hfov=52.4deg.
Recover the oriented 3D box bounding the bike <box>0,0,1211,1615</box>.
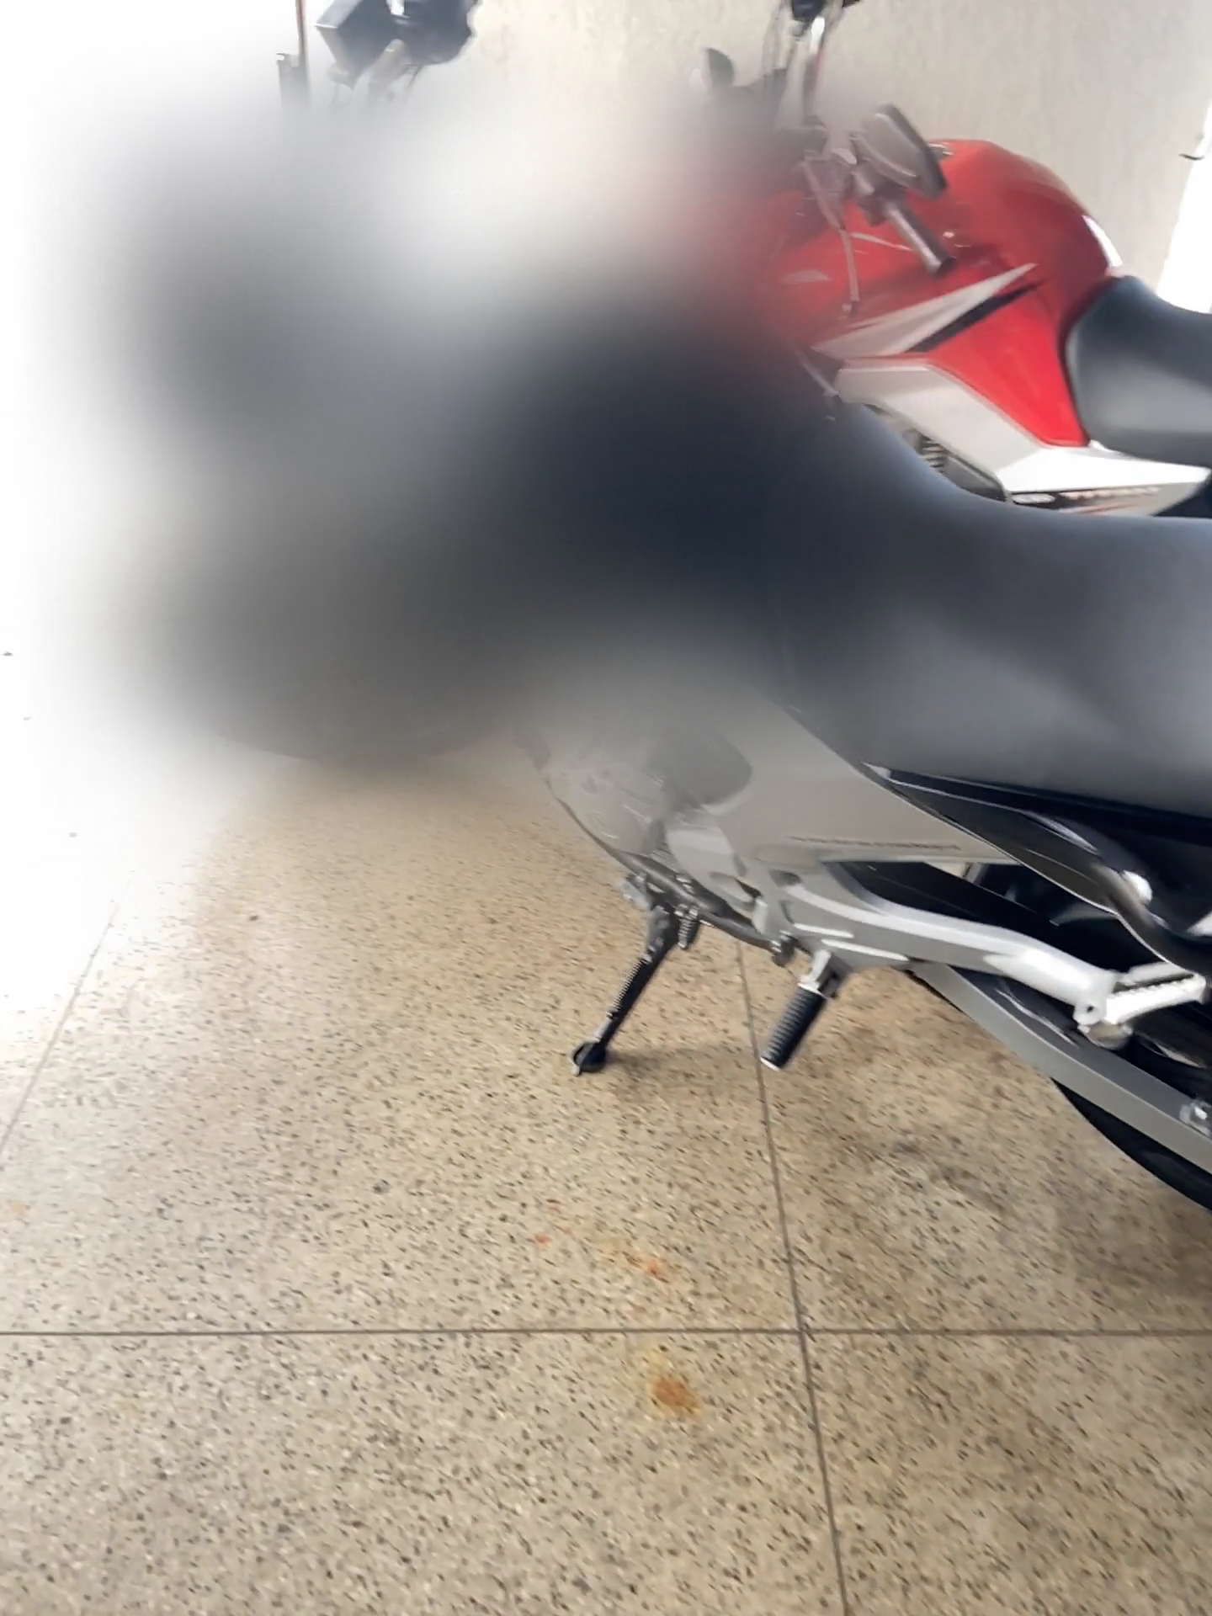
[{"bbox_3d":[0.214,-0.109,1.320,1.878,1.511,0.848,18,38,16],"label":"bike"}]
